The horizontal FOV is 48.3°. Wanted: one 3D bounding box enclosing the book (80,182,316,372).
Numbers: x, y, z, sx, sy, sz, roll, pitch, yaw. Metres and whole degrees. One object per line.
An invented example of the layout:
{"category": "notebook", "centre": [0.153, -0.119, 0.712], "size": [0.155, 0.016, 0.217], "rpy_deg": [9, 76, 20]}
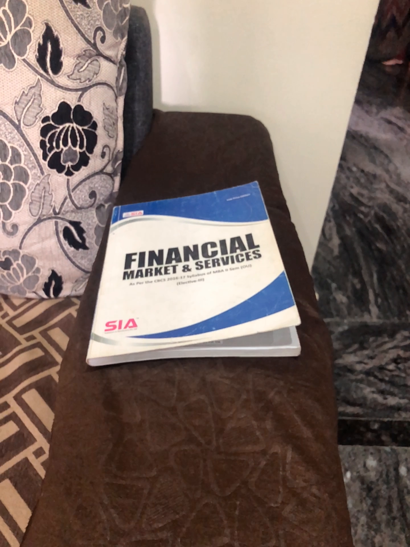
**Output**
{"category": "book", "centre": [-0.018, -0.020, 0.553], "size": [0.220, 0.040, 0.301], "rpy_deg": [-2, 39, -5]}
